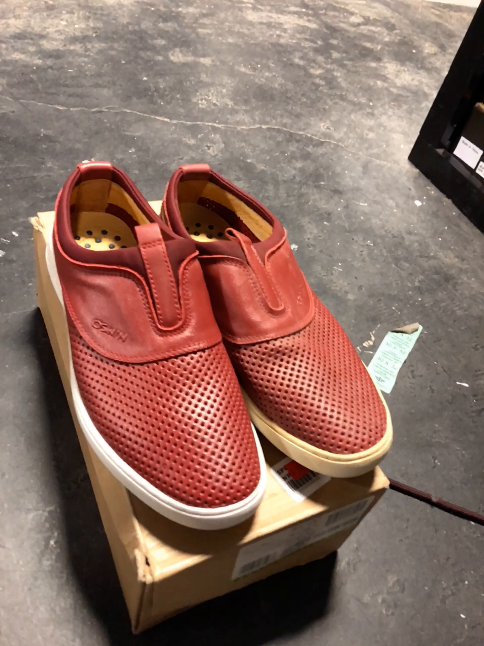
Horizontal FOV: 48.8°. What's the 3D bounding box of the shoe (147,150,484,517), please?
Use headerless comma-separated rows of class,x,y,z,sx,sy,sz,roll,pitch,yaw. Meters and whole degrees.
shoe,0.028,-0.013,0.381,0.100,0.089,0.251,-13,53,-27

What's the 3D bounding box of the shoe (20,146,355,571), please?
shoe,-0.055,-0.001,0.337,0.100,0.089,0.251,-13,53,-27
